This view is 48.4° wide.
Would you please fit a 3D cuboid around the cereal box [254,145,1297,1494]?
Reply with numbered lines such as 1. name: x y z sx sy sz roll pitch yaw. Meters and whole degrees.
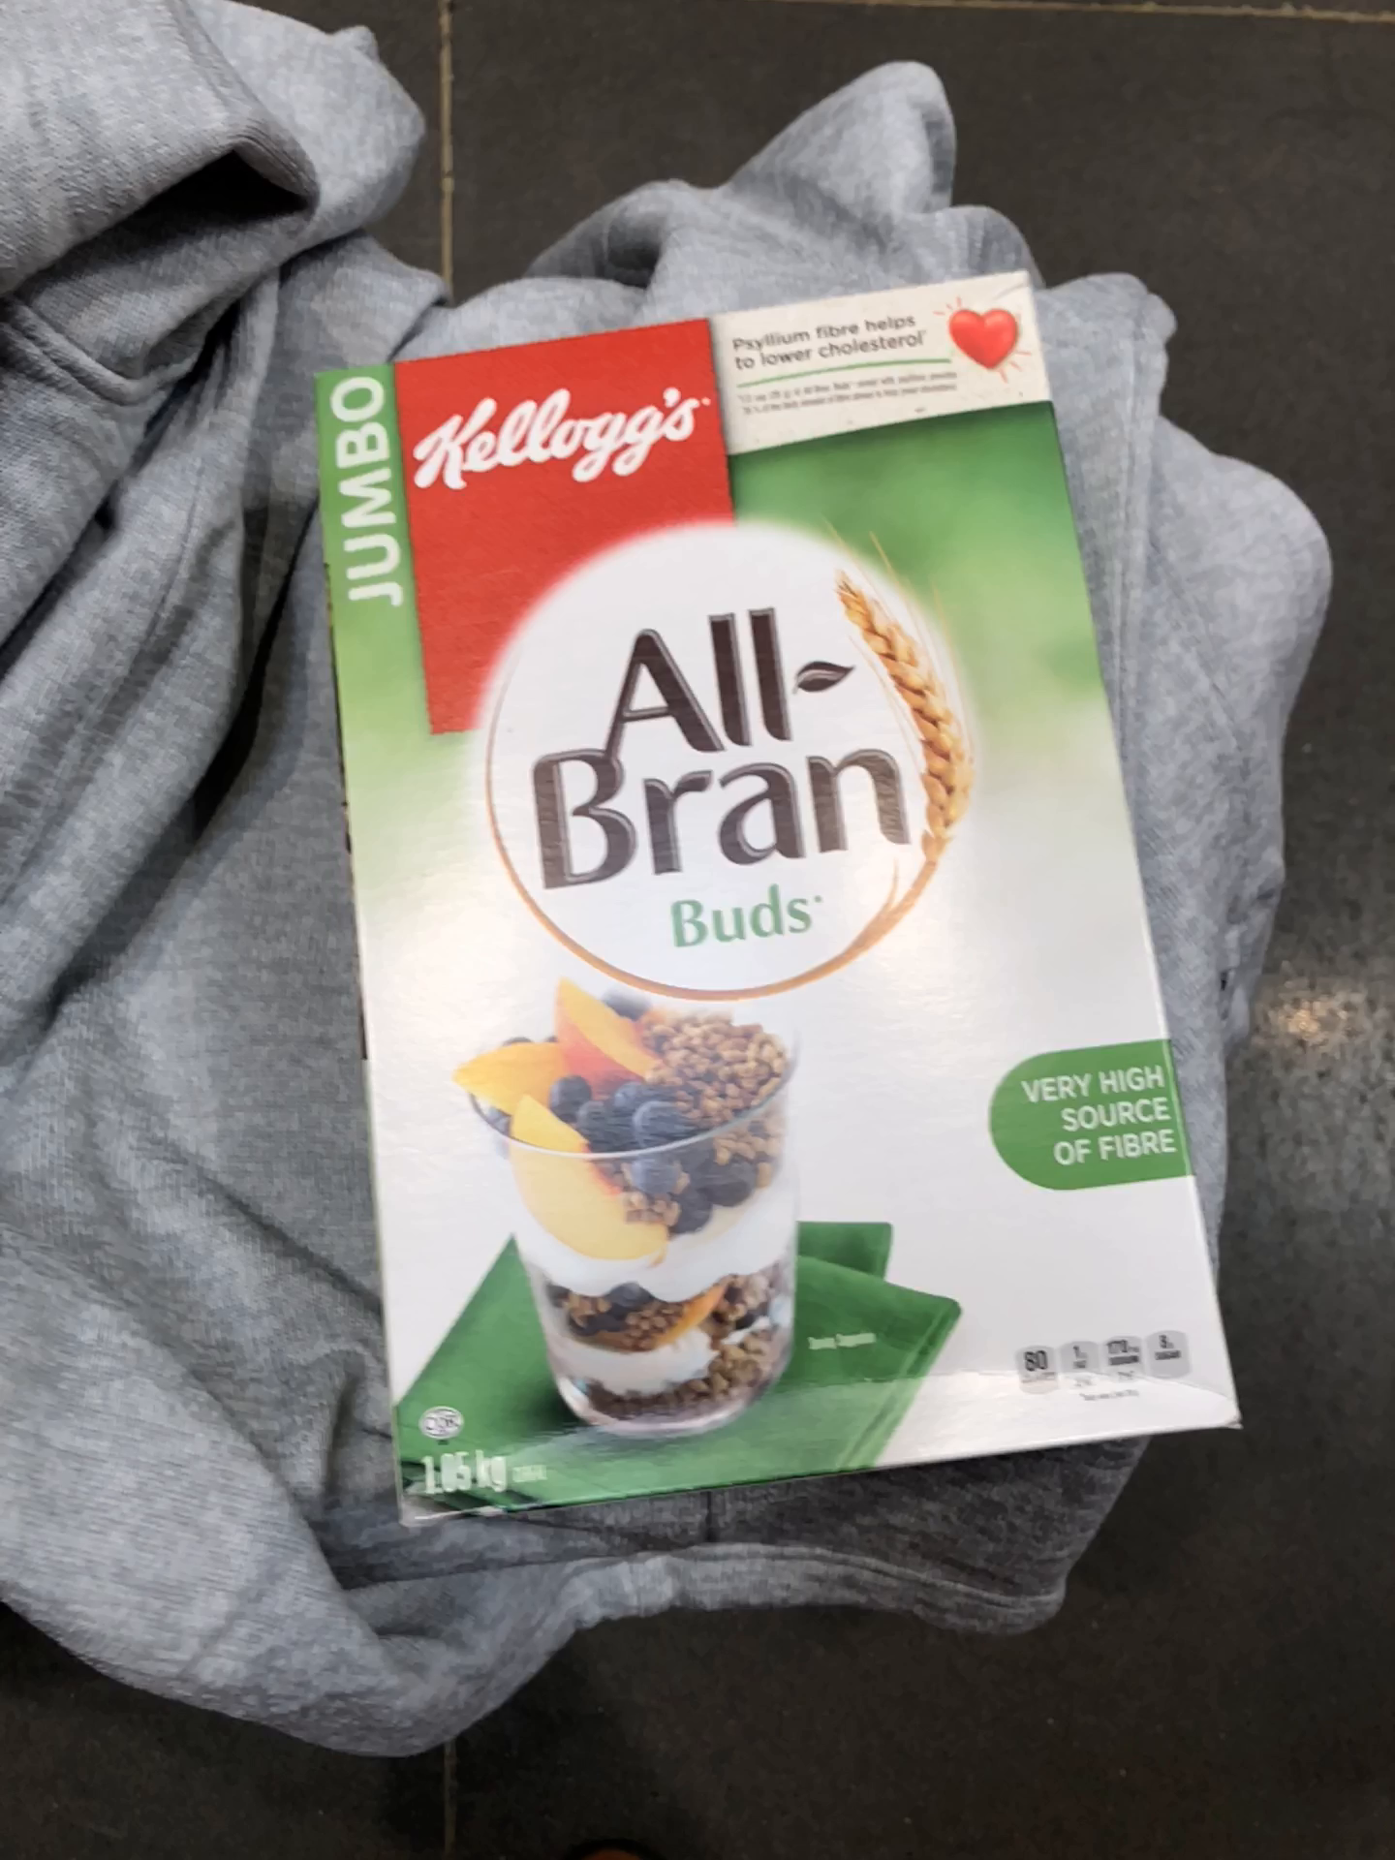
1. cereal box: 0.009 -0.031 0.401 0.200 0.070 0.300 -10 77 3
